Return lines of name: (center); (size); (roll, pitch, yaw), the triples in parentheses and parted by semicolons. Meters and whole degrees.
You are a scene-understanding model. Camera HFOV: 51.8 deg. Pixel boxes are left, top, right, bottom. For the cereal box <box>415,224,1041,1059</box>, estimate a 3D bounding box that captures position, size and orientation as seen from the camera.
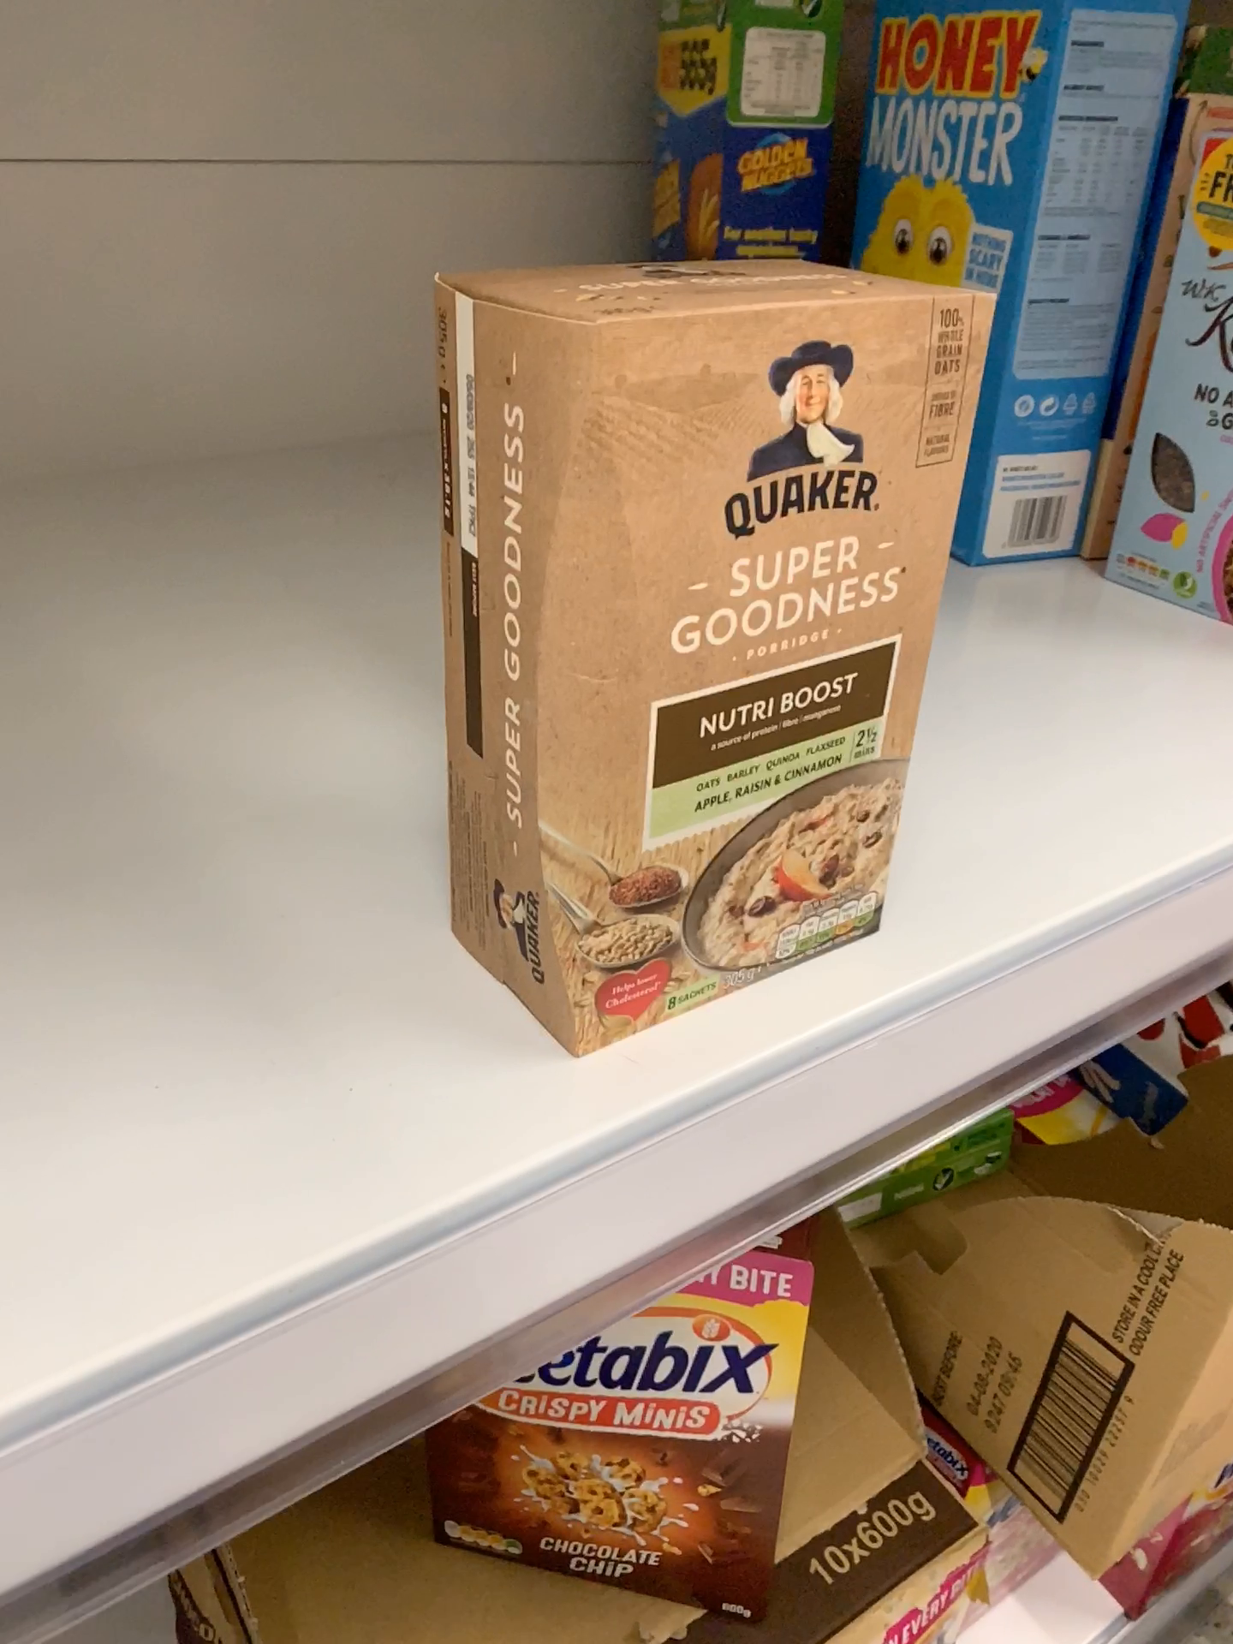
cereal box: (0.026, -0.055, 0.359); (0.141, 0.198, 0.070); (-17, 35, -31)
